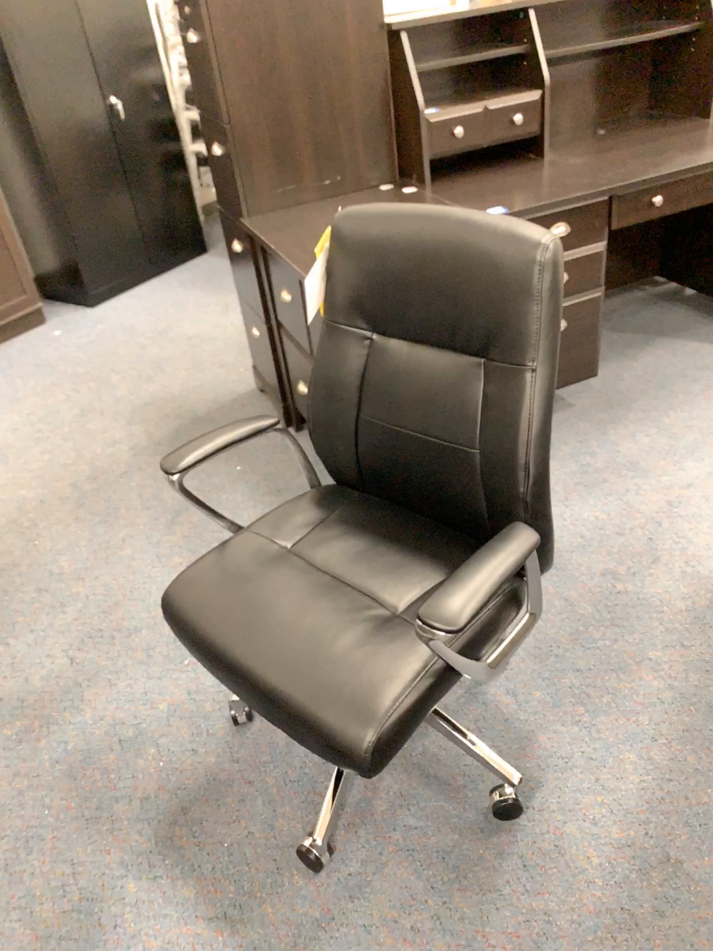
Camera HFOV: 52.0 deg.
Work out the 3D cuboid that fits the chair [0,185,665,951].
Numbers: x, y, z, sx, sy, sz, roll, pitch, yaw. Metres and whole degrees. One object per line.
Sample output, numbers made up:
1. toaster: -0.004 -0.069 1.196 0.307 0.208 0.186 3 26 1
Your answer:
1. chair: 0.008 0.122 1.290 0.666 0.996 0.719 22 45 37
